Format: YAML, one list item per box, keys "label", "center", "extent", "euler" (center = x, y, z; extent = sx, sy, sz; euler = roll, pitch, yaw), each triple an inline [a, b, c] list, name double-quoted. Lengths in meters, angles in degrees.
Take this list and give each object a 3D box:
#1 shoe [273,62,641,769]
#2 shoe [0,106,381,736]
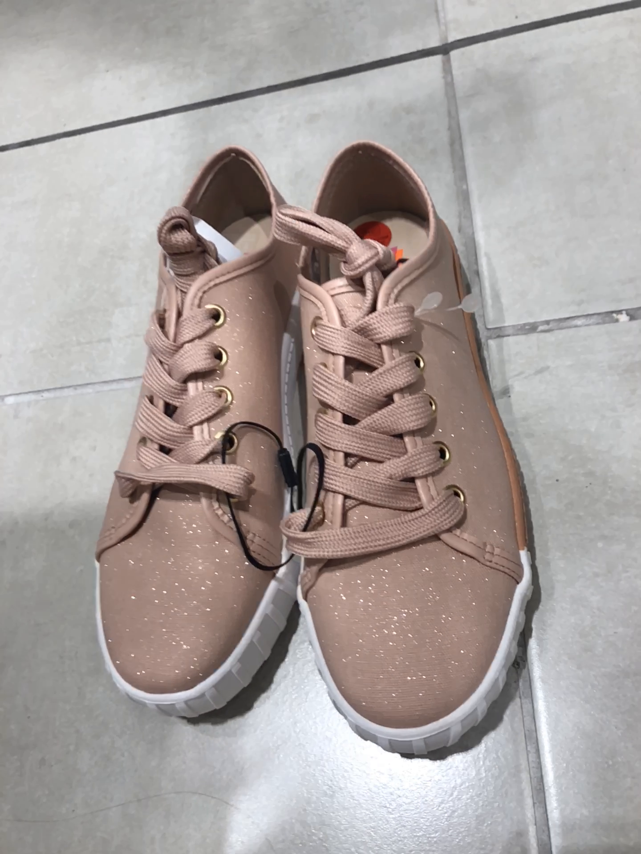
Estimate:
- label: "shoe"
  center: [0.042, -0.006, 0.271]
  extent: [0.090, 0.100, 0.241]
  euler: [-7, 62, 12]
- label: "shoe"
  center: [-0.034, -0.006, 0.305]
  extent: [0.090, 0.100, 0.241]
  euler: [-2, 63, 15]
